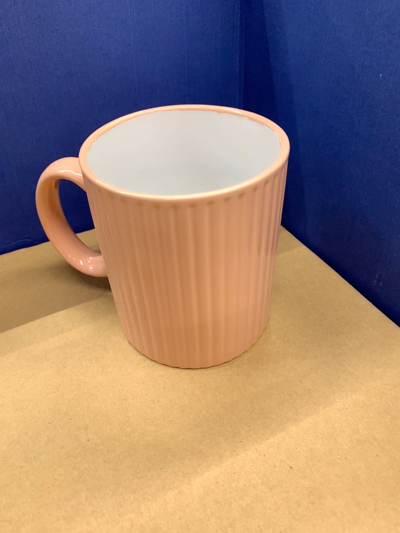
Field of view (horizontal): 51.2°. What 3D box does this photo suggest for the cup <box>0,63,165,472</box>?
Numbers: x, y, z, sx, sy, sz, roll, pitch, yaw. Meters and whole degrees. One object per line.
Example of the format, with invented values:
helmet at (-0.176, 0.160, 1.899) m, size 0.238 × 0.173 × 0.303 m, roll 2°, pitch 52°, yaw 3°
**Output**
cup at (-0.110, -0.016, 0.186) m, size 0.155 × 0.128 × 0.102 m, roll 9°, pitch 31°, yaw 17°
